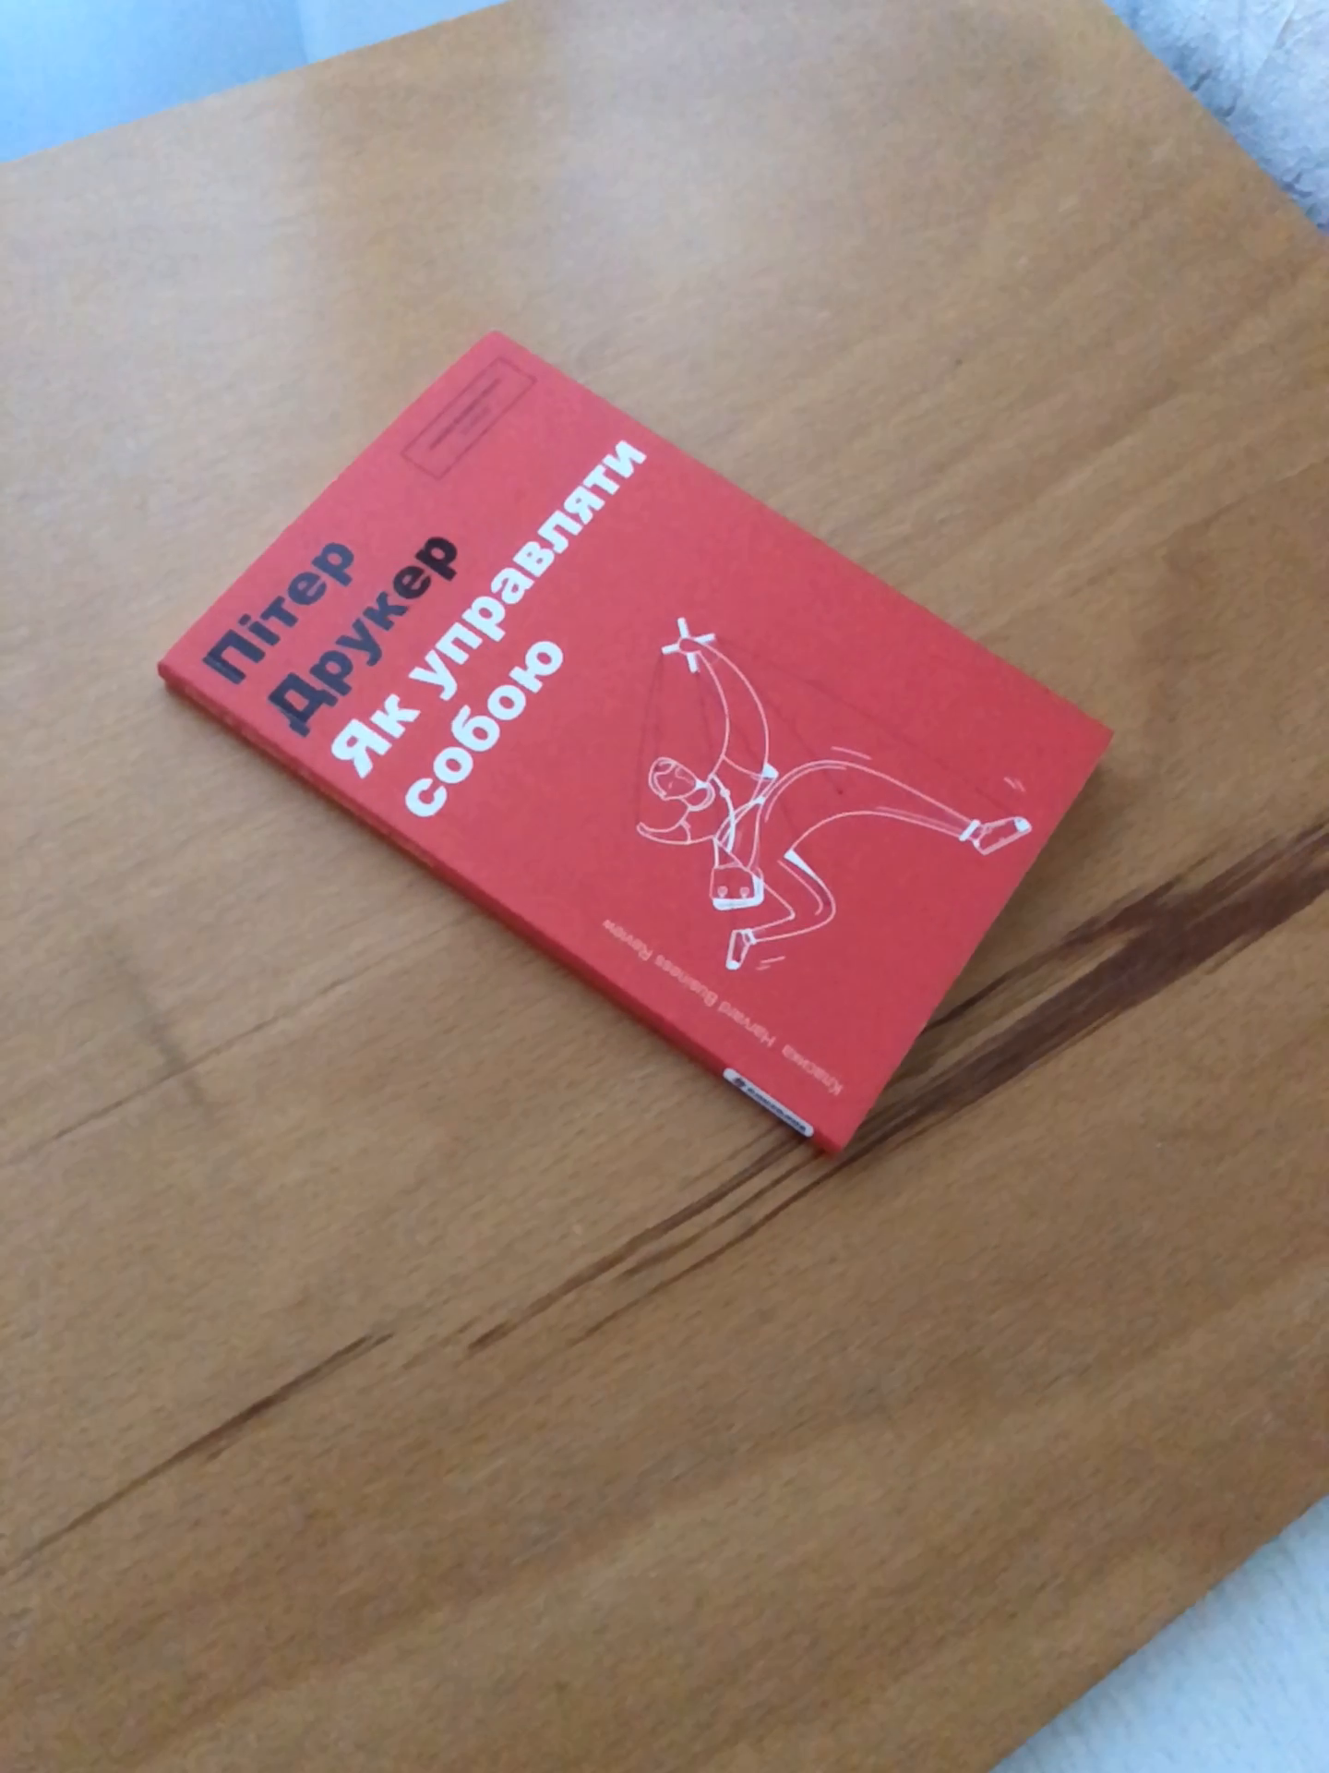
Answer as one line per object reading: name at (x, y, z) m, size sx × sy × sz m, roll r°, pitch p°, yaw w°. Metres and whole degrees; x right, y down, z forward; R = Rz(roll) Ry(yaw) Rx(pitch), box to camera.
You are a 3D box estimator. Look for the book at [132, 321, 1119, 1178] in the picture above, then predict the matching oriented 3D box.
book at (-0.006, -0.036, 0.300) m, size 0.164 × 0.013 × 0.112 m, roll 35°, pitch 69°, yaw 9°
